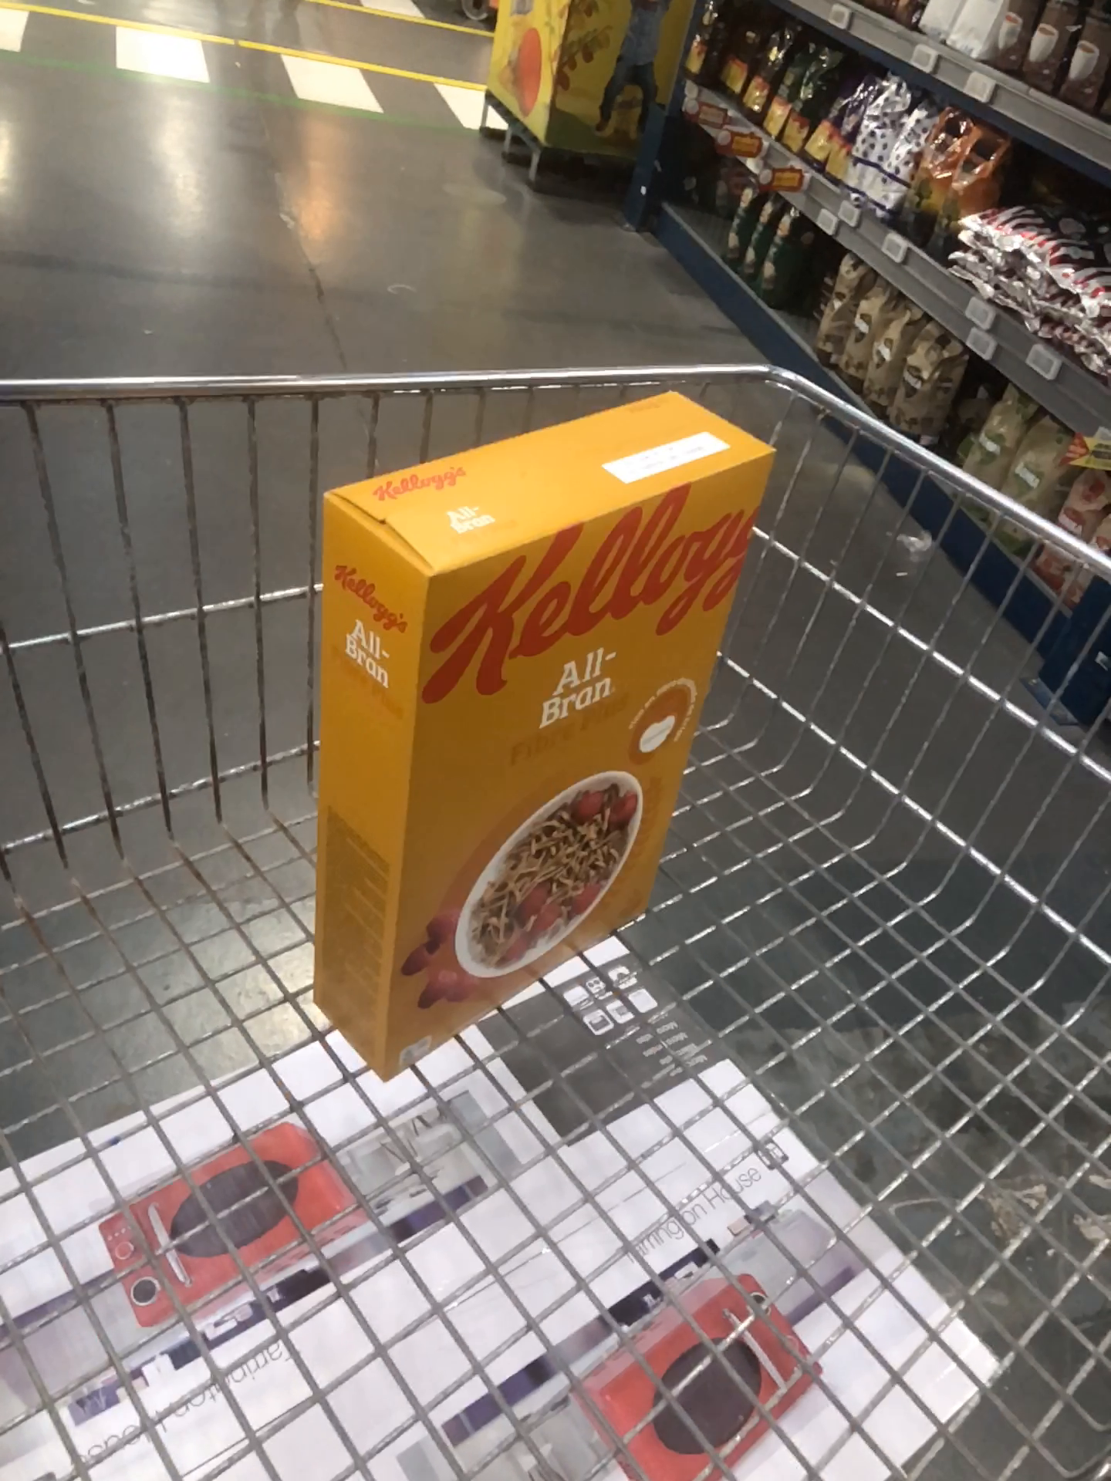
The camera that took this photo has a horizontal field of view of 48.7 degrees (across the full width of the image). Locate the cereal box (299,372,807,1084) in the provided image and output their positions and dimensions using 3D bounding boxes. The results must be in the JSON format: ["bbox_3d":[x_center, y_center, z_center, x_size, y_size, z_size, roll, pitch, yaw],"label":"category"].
[{"bbox_3d":[-0.012,0.000,0.565,0.201,0.289,0.070,-27,53,-36],"label":"cereal box"}]
